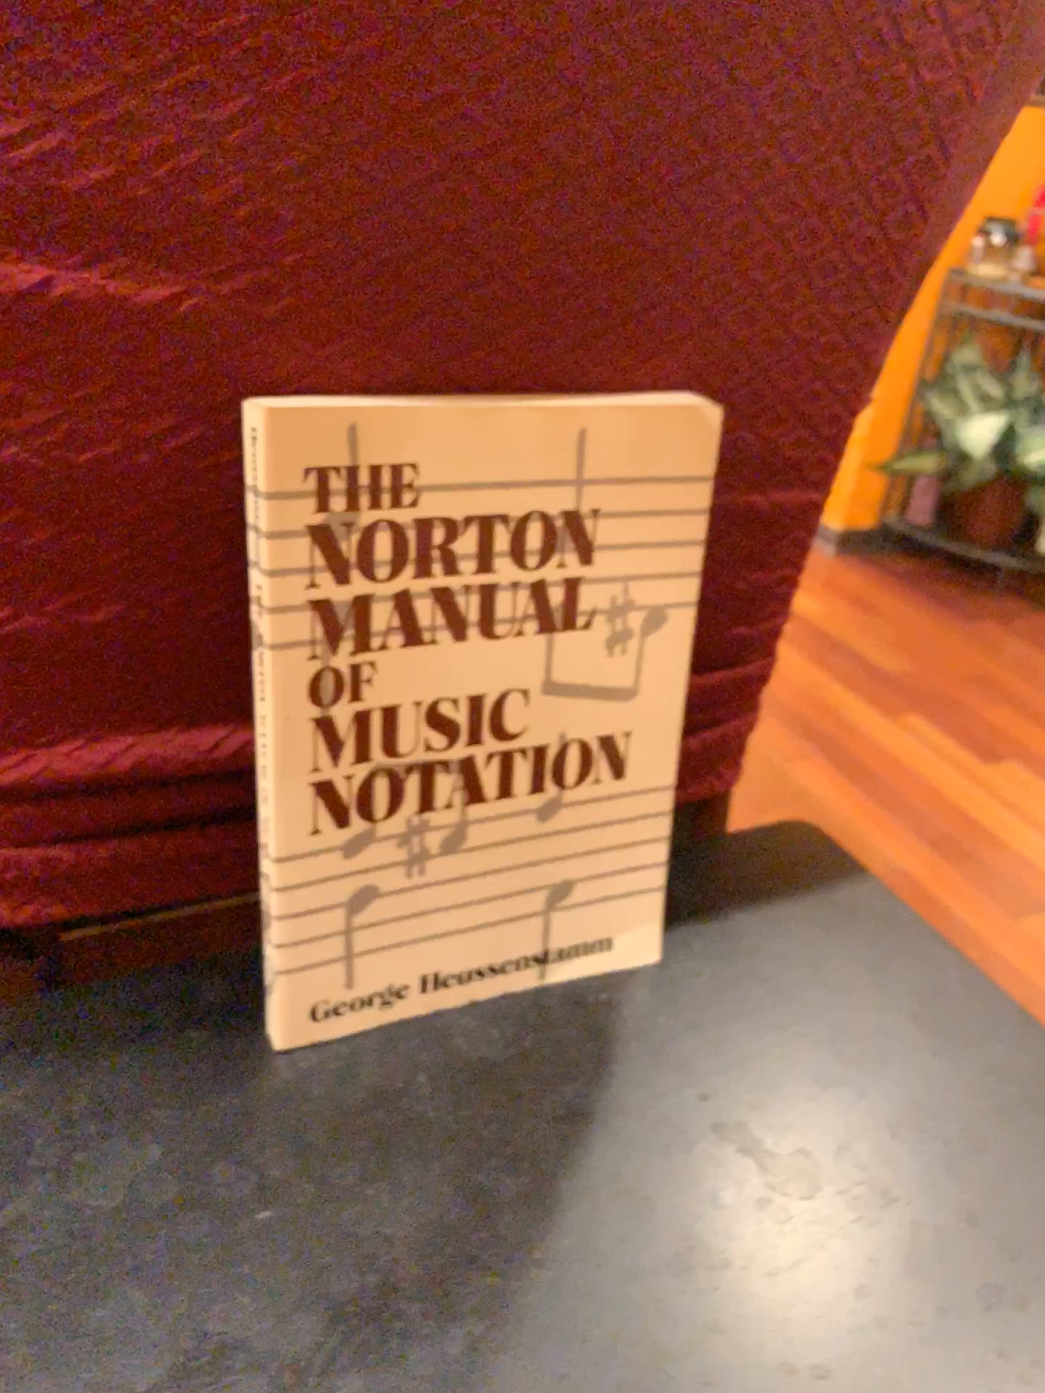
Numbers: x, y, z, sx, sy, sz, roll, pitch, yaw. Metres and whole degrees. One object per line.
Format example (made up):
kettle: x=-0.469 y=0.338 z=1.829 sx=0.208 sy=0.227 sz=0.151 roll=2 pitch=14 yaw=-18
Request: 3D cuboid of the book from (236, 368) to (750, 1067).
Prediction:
book: x=-0.012 y=0.009 z=0.425 sx=0.180 sy=0.259 sz=0.030 roll=-7 pitch=25 yaw=-24
